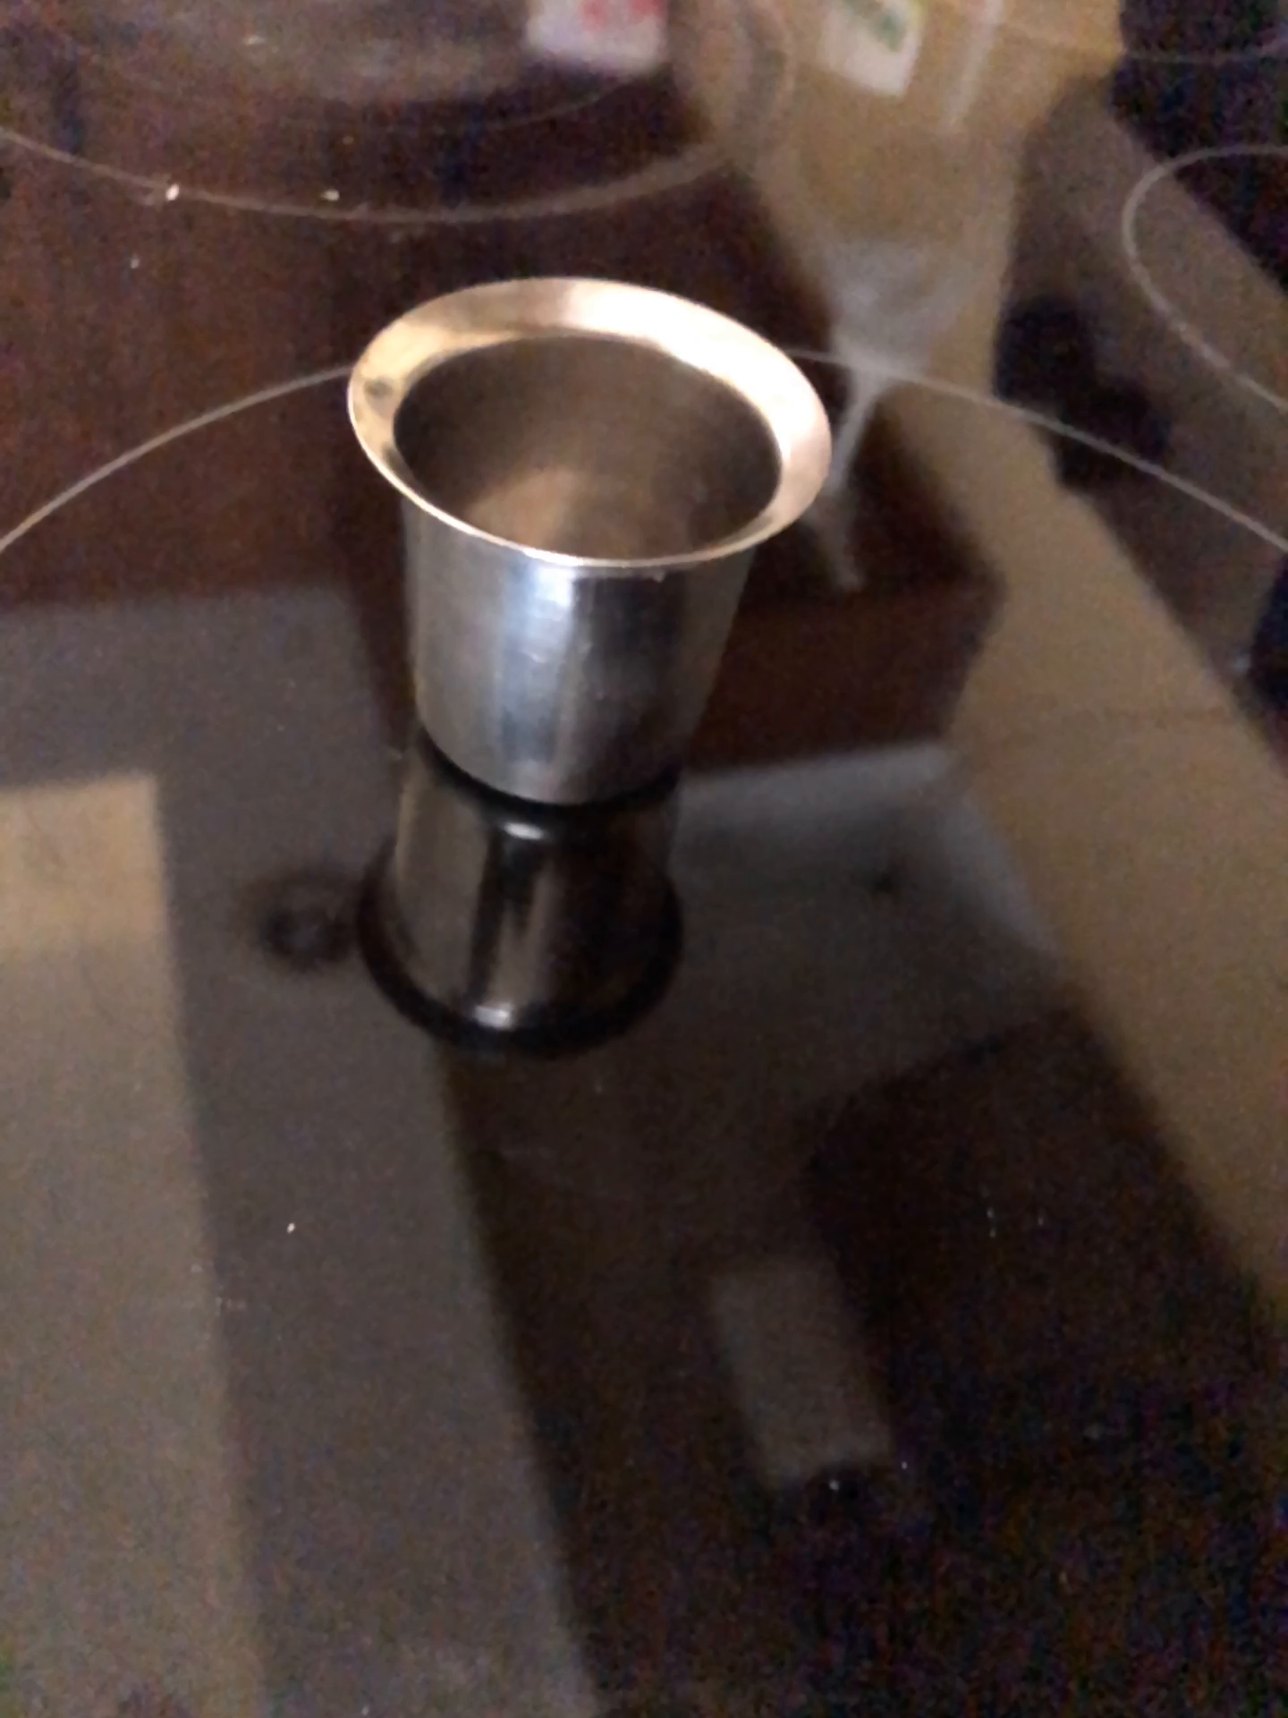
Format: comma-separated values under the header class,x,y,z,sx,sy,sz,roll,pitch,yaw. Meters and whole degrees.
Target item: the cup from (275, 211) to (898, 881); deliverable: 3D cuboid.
class,x,y,z,sx,sy,sz,roll,pitch,yaw
cup,-0.008,-0.045,0.211,0.073,0.056,0.067,5,50,-7
